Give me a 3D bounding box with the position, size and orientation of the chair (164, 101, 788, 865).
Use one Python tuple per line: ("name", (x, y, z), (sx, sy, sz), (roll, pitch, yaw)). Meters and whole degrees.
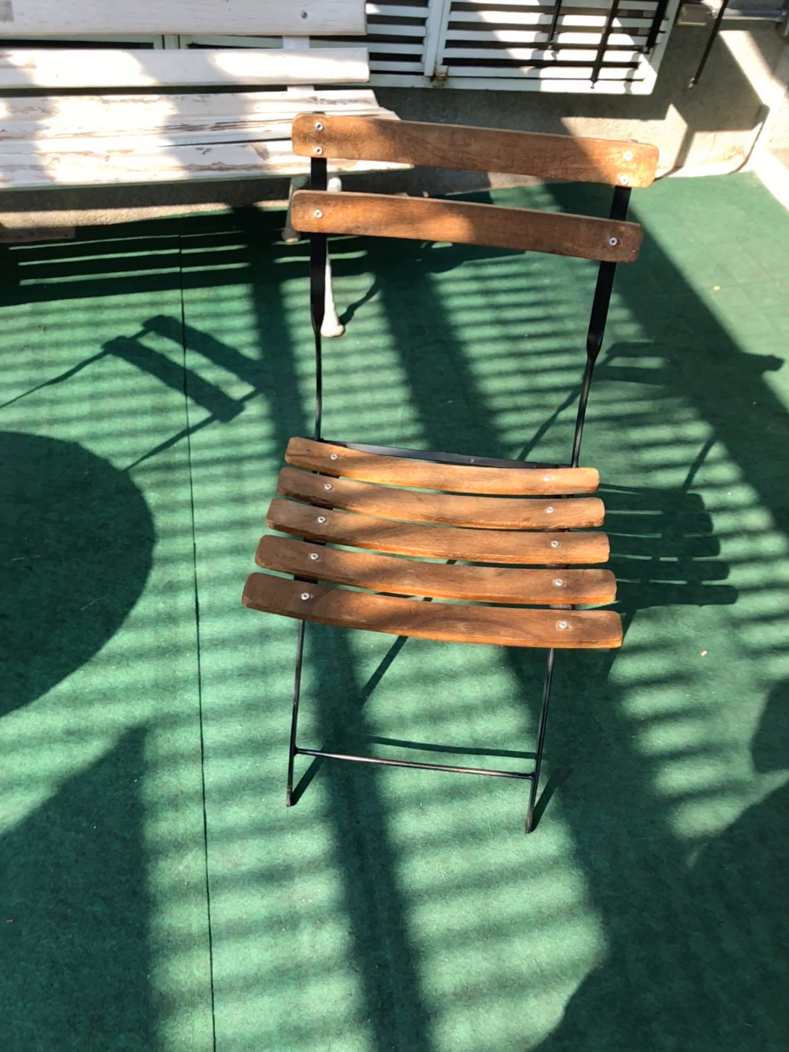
("chair", (0.054, -0.009, 0.905), (0.390, 0.655, 0.403), (6, 45, 2))
